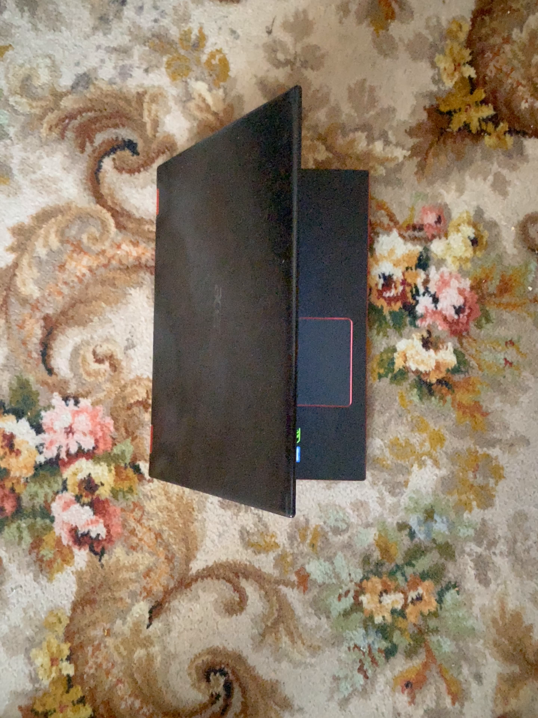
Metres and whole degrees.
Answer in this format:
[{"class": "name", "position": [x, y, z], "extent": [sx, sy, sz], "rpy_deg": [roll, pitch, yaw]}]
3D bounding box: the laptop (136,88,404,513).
[{"class": "laptop", "position": [0.004, -0.047, 0.556], "extent": [0.224, 0.173, 0.356], "rpy_deg": [1, 88, -2]}]
